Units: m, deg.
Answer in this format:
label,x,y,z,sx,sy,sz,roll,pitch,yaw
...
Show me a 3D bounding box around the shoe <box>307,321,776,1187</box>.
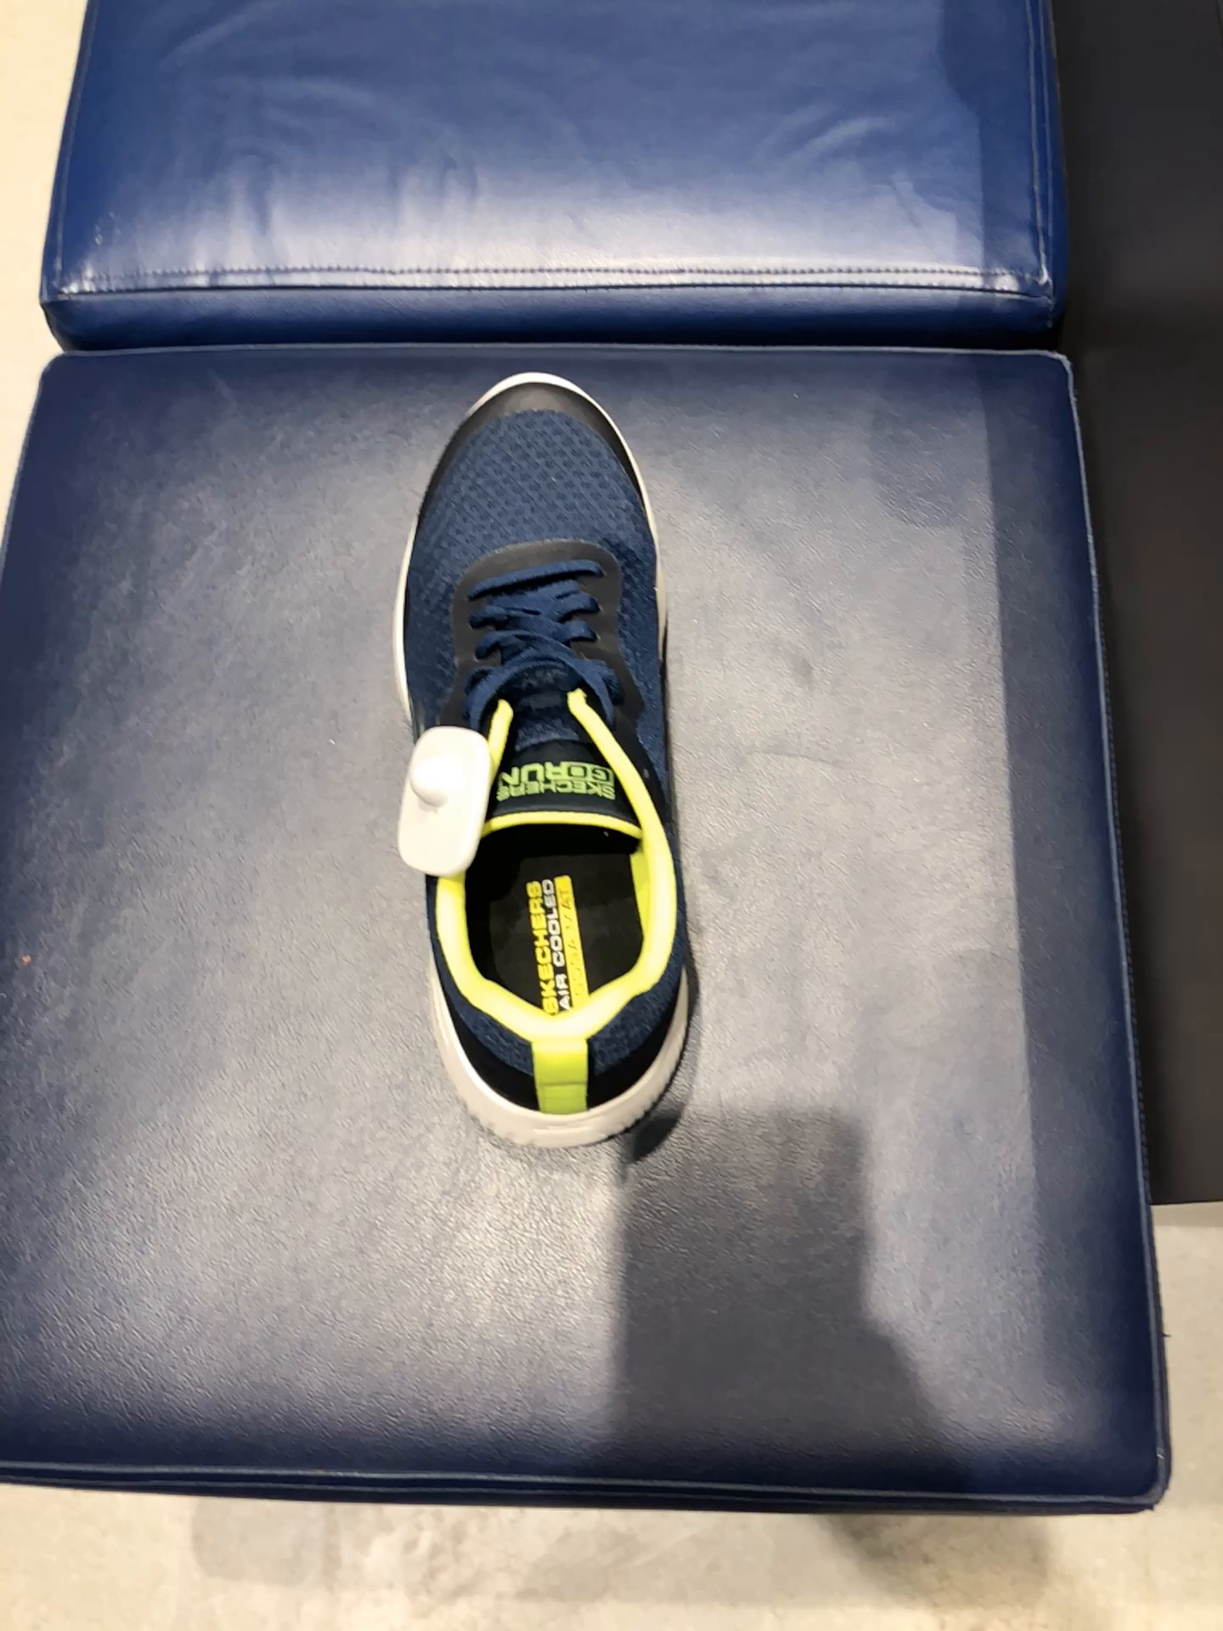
label,x,y,z,sx,sy,sz,roll,pitch,yaw
shoe,-0.025,-0.013,0.461,0.113,0.132,0.255,-7,73,0
